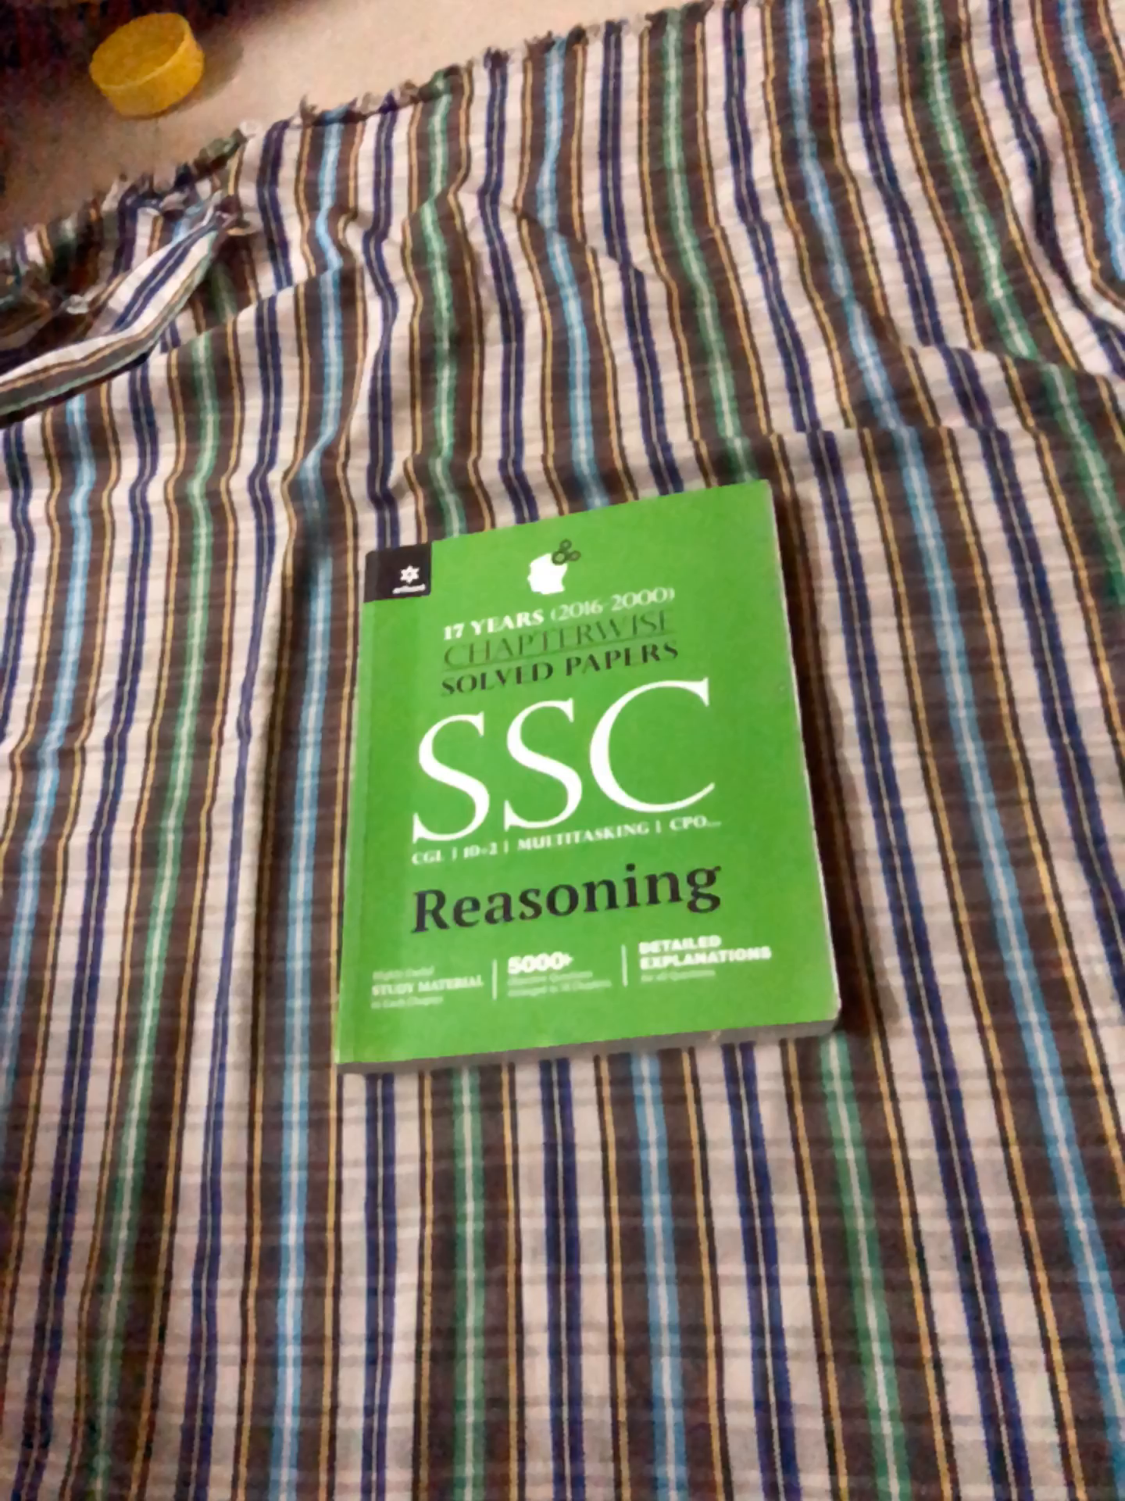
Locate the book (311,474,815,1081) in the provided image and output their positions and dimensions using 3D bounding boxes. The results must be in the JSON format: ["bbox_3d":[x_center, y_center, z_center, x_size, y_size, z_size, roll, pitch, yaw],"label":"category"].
[{"bbox_3d":[-0.004,0.007,0.591,0.210,0.040,0.270,-8,62,13],"label":"book"}]
